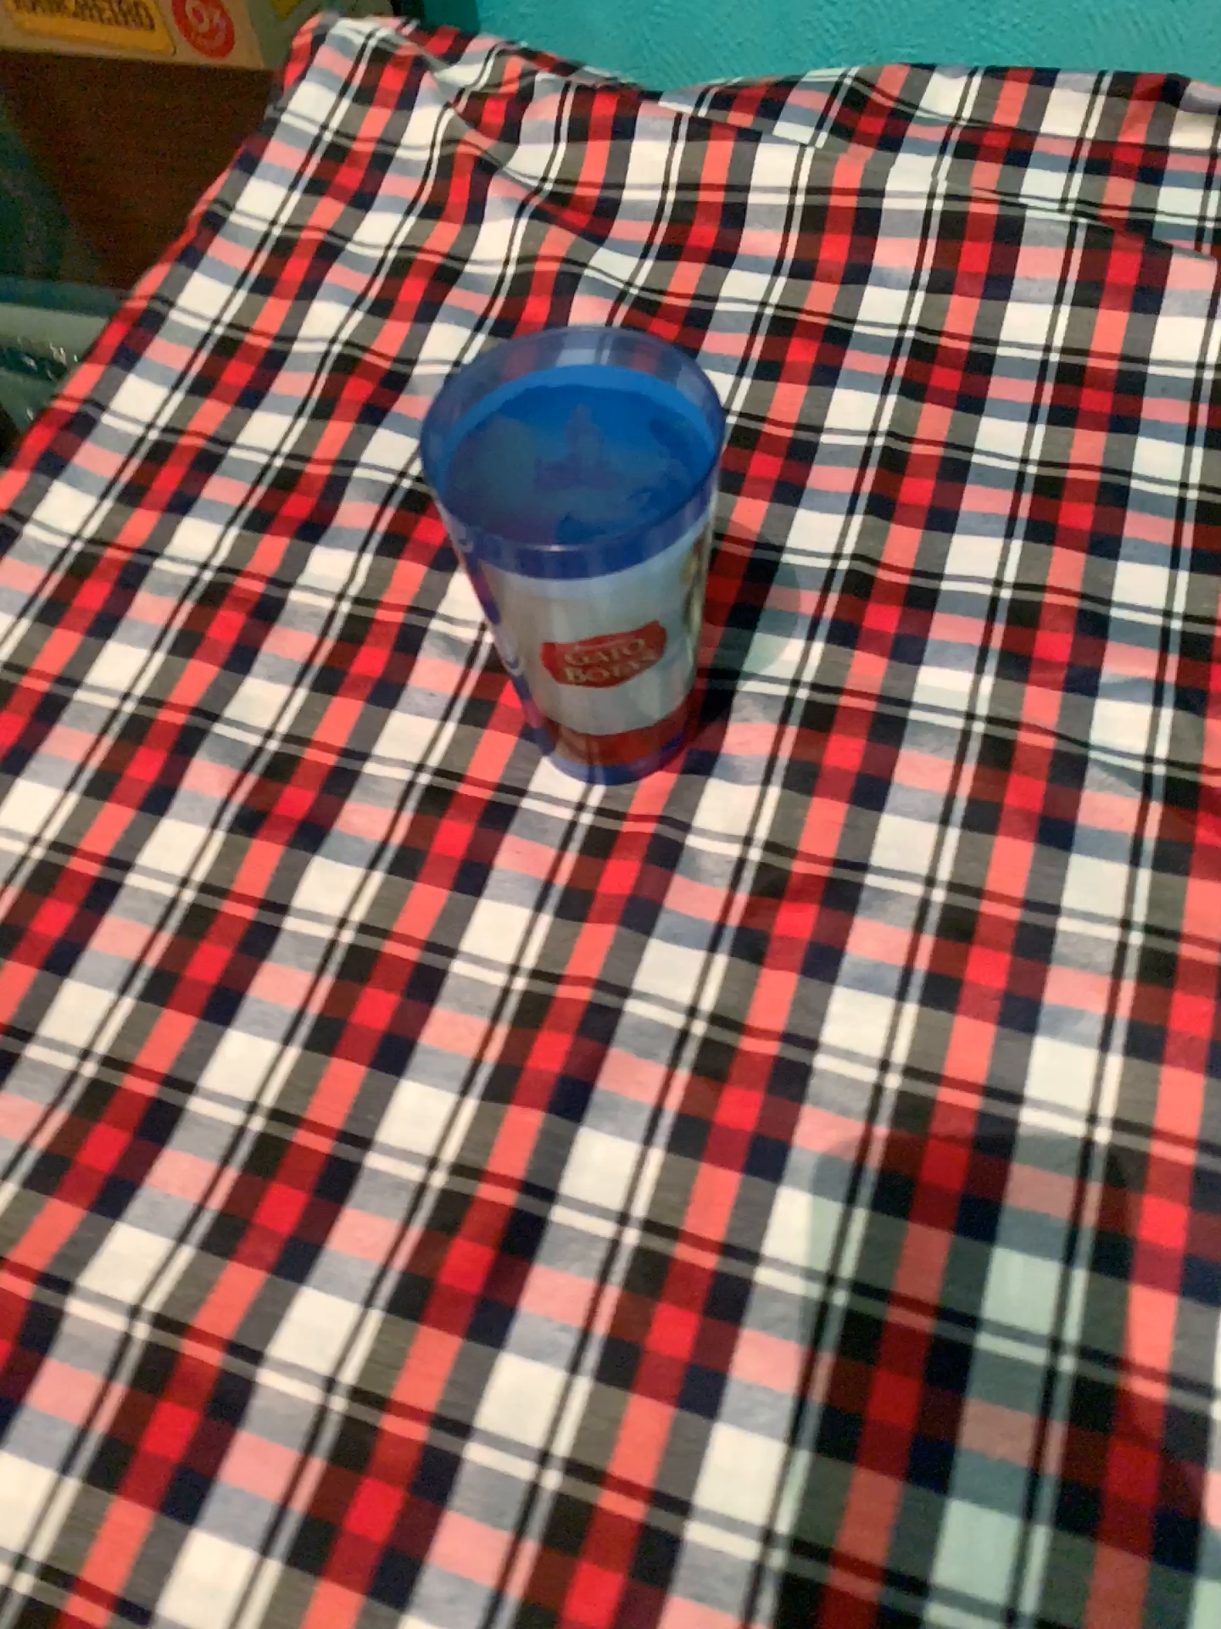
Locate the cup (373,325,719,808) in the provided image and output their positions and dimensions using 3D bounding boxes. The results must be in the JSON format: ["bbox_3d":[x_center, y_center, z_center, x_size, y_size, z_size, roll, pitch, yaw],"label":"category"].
[{"bbox_3d":[-0.011,-0.074,0.408,0.090,0.130,0.090,-3,60,5],"label":"cup"}]
